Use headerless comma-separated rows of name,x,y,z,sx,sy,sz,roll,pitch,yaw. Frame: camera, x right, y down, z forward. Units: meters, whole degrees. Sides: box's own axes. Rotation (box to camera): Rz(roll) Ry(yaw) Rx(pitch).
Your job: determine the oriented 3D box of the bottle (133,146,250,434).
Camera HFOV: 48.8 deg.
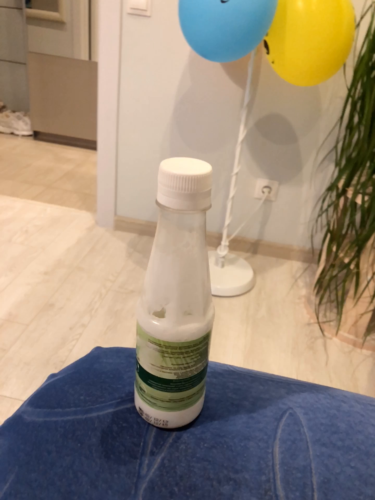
bottle,-0.002,0.033,0.265,0.054,0.183,0.051,4,29,-2
